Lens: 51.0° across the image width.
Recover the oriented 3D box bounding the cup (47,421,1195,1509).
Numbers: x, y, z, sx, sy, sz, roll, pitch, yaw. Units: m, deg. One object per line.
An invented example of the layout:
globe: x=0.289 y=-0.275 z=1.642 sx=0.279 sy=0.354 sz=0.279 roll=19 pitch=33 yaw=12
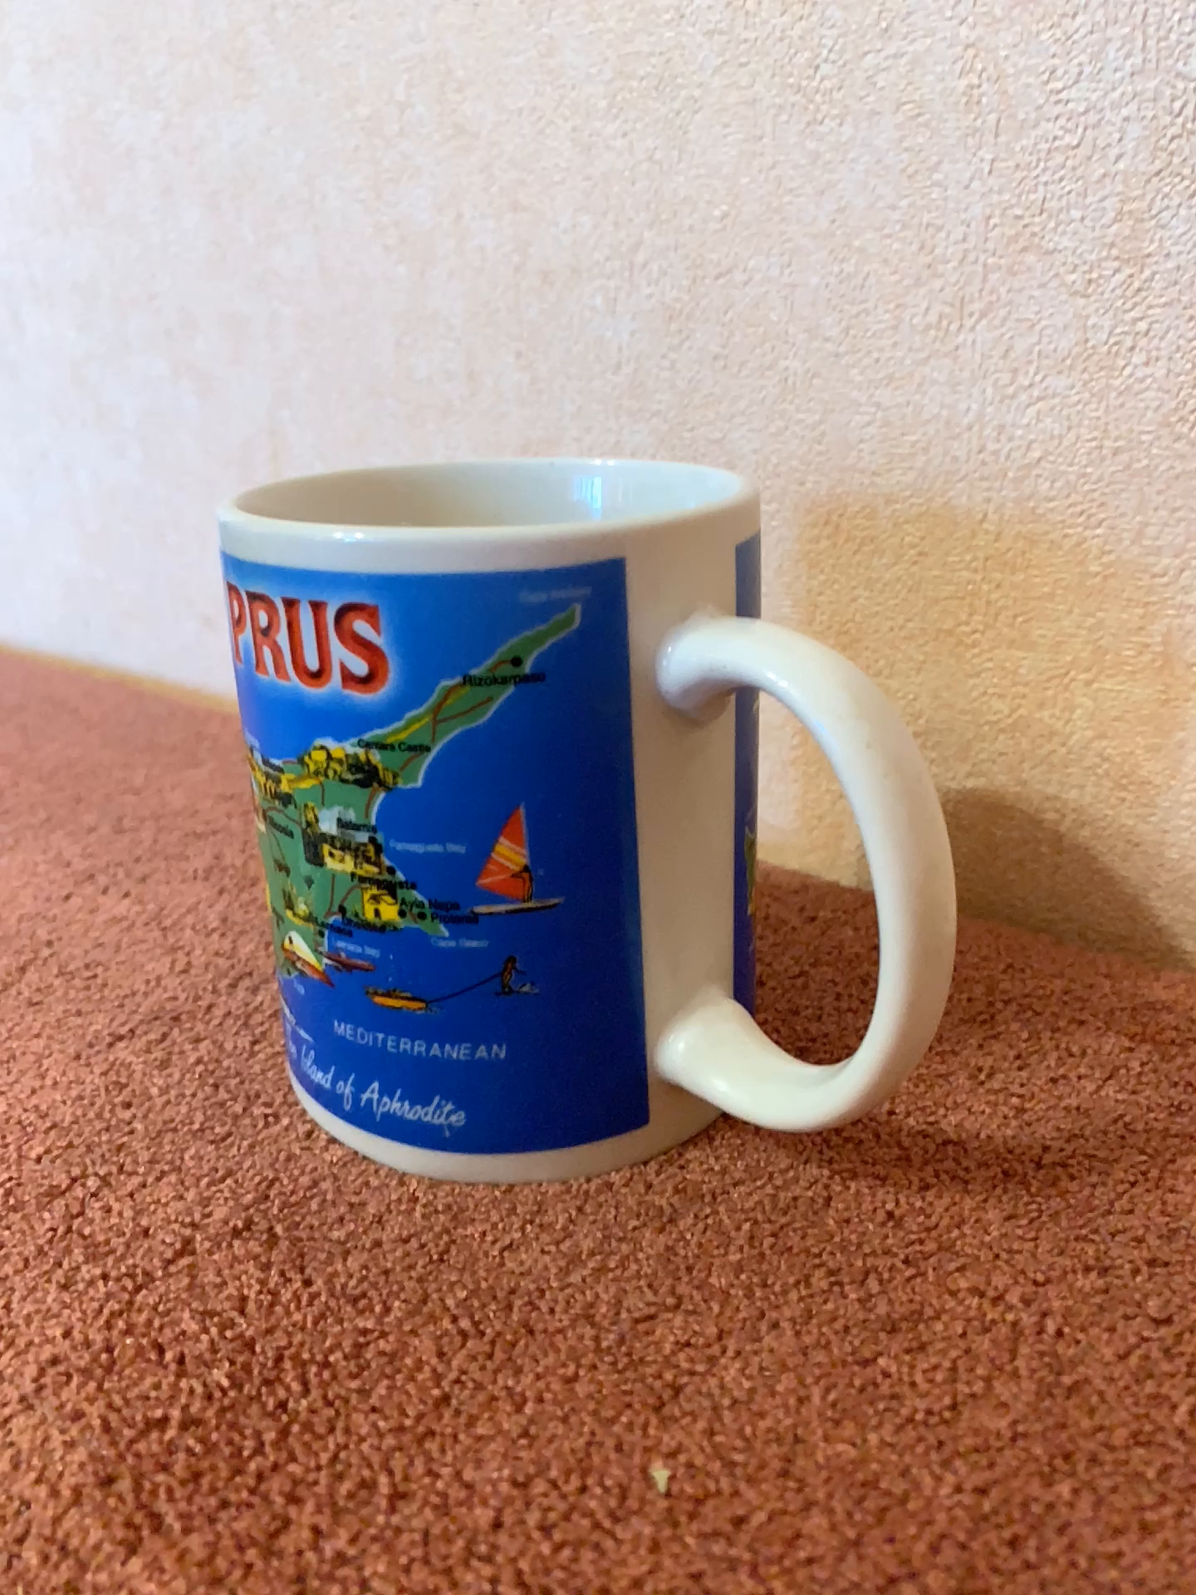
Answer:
cup: x=0.001 y=0.001 z=0.173 sx=0.119 sy=0.091 sz=0.085 roll=17 pitch=29 yaw=42
